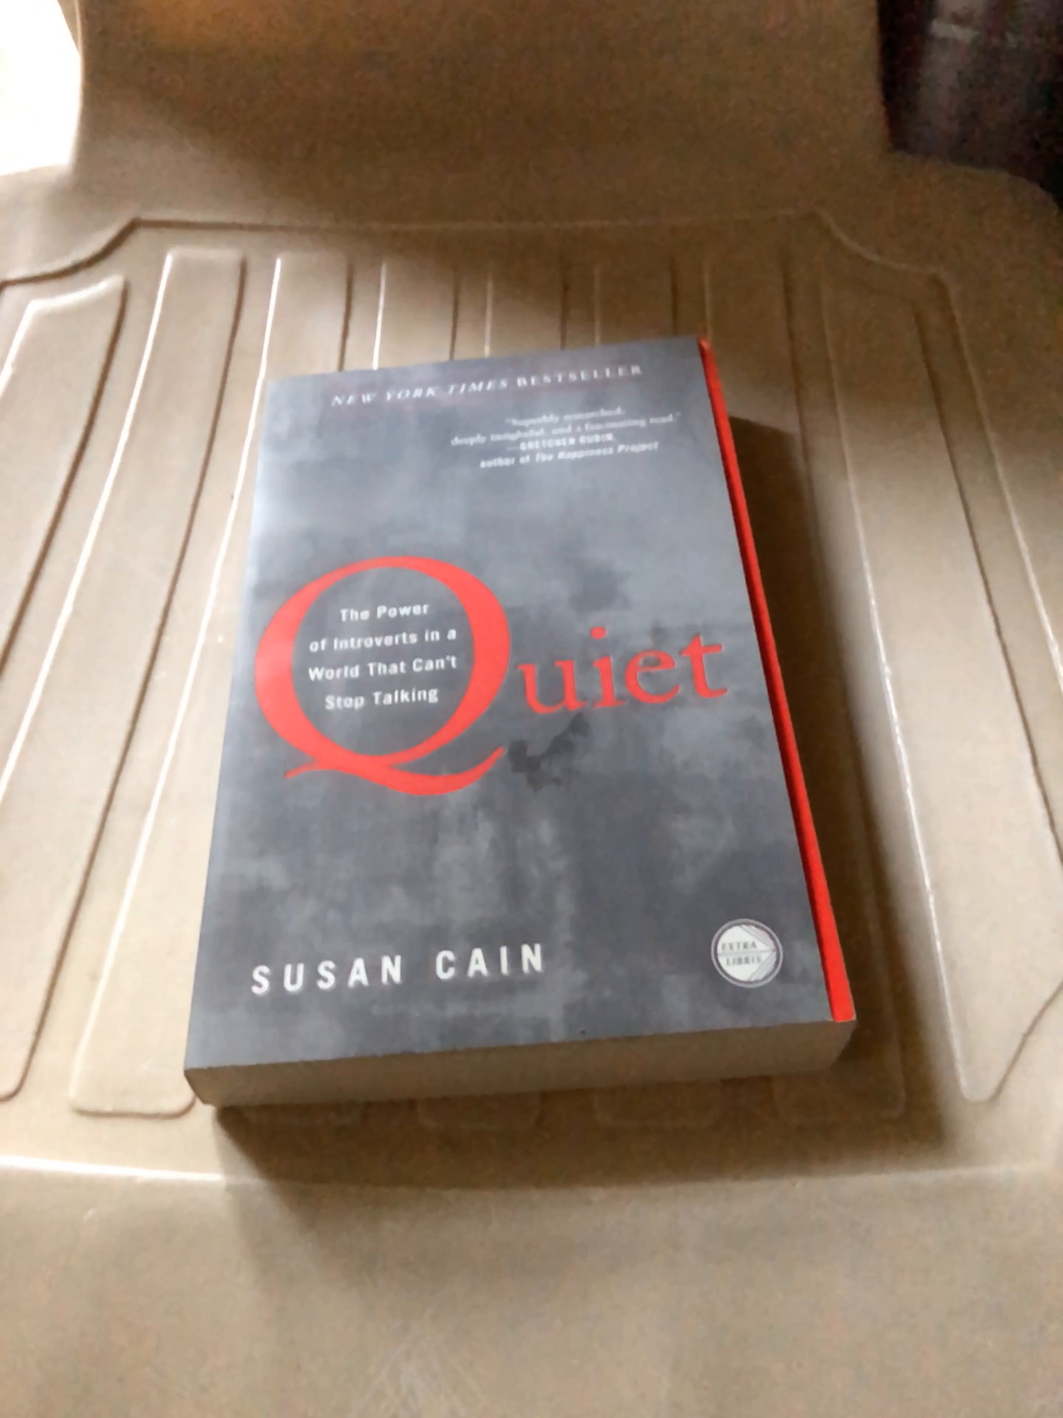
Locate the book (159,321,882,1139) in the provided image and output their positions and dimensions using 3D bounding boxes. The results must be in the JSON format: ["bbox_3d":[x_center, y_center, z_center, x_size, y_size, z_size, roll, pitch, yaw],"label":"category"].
[{"bbox_3d":[-0.007,-0.010,0.281,0.130,0.030,0.200,-4,56,1],"label":"book"}]
